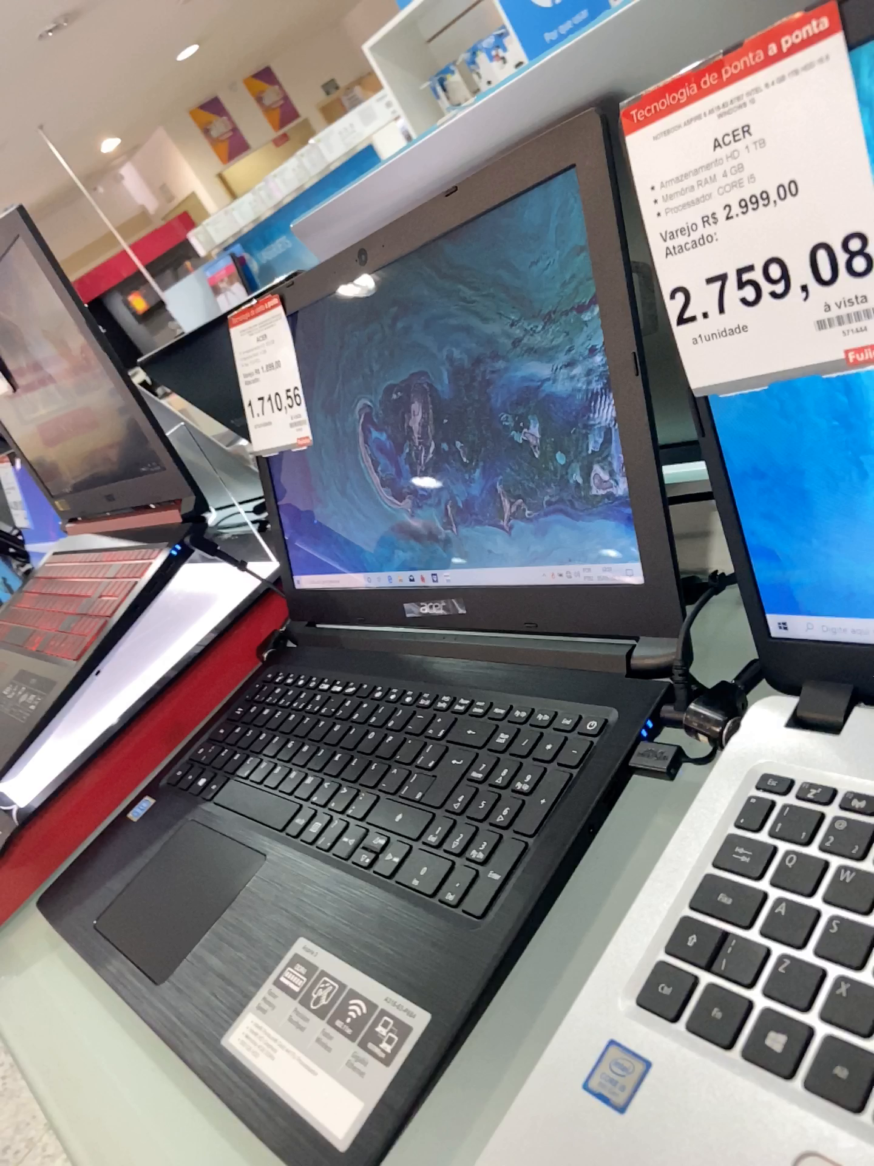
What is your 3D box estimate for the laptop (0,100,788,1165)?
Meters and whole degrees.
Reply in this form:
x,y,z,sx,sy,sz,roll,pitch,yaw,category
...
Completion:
x,y,z,sx,sy,sz,roll,pitch,yaw,category
-0.097,0.000,0.492,0.378,0.216,0.380,-2,40,52,laptop
